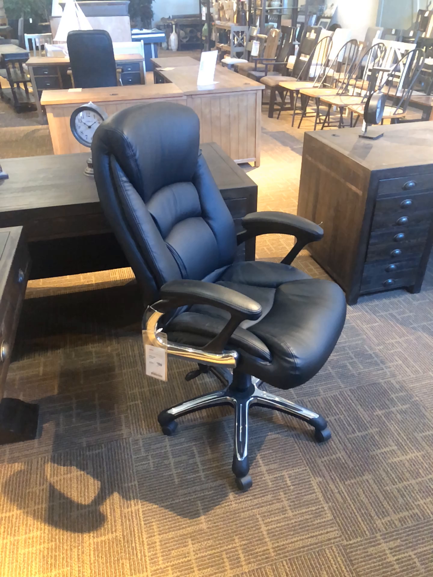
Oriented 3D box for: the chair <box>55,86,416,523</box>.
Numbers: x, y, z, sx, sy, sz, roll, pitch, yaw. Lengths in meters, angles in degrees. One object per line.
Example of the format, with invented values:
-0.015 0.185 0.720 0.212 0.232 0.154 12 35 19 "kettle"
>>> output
0.102 -0.007 1.598 0.769 1.118 0.704 15 34 24 "chair"
